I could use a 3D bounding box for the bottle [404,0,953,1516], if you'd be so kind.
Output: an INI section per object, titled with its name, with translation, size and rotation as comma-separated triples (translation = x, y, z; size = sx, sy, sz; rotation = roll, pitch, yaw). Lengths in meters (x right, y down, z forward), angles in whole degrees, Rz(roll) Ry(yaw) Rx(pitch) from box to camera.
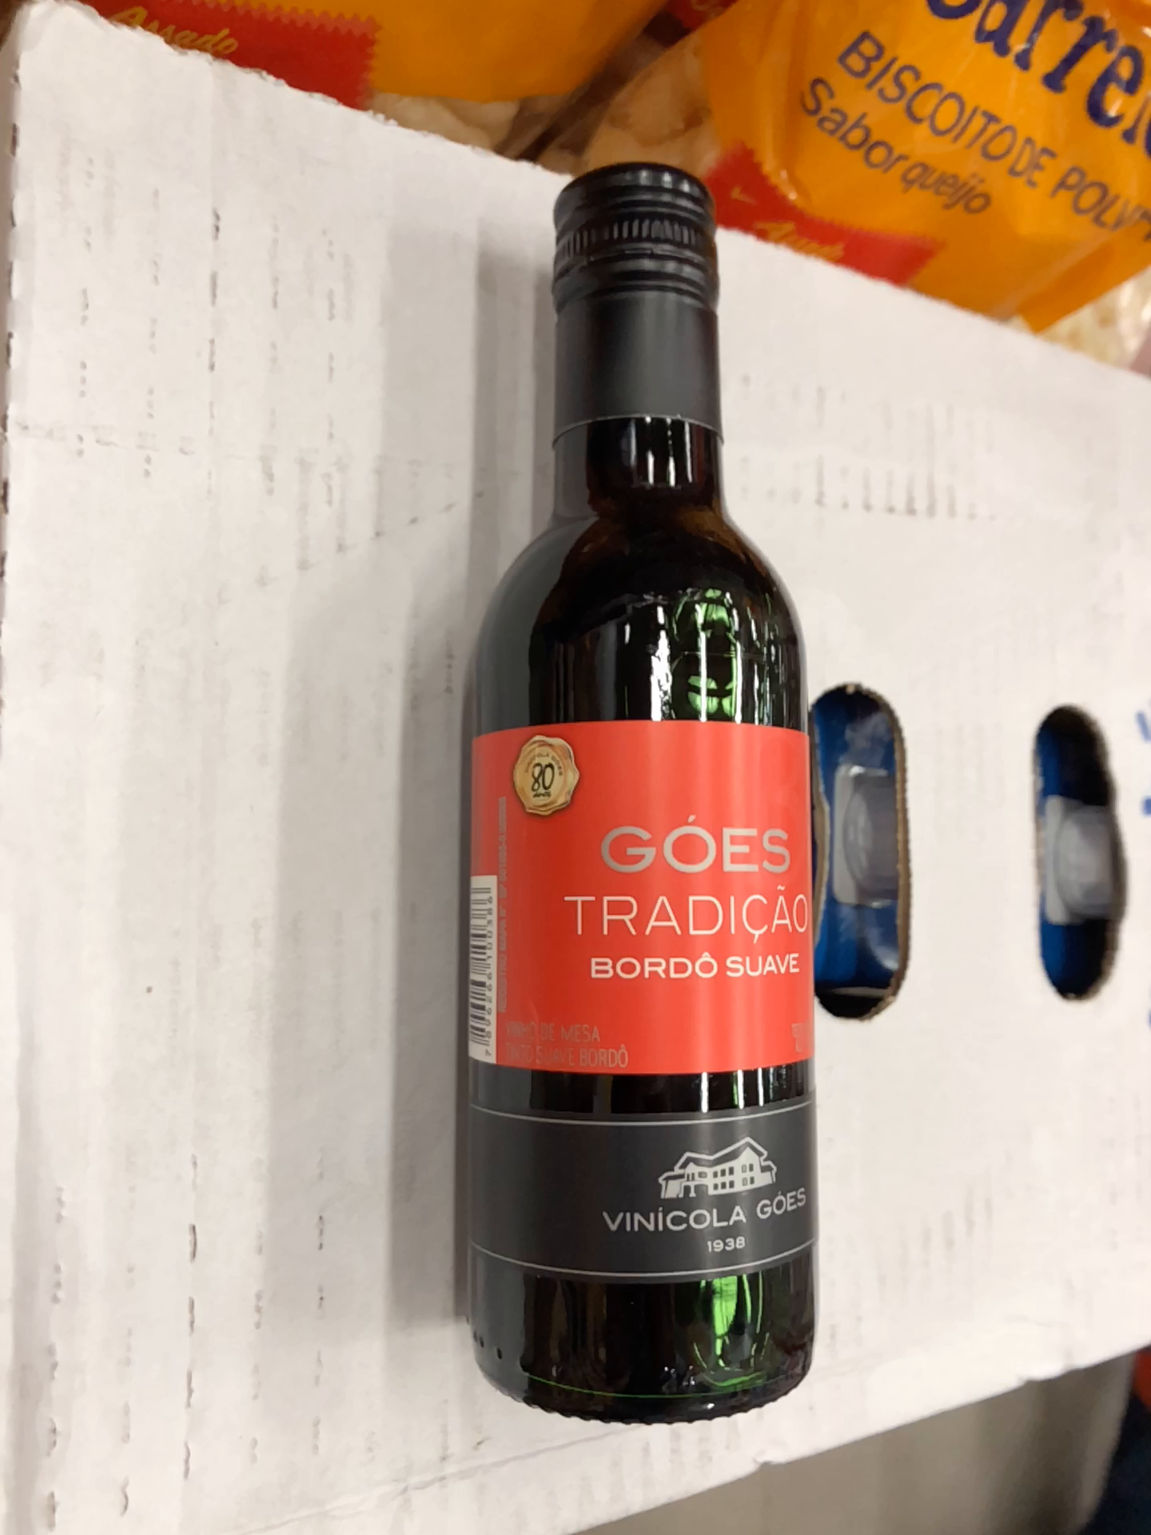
[bottle]
translation = 0.013, -0.011, 0.202
size = 0.060, 0.050, 0.210
rotation = 1, 85, -30
